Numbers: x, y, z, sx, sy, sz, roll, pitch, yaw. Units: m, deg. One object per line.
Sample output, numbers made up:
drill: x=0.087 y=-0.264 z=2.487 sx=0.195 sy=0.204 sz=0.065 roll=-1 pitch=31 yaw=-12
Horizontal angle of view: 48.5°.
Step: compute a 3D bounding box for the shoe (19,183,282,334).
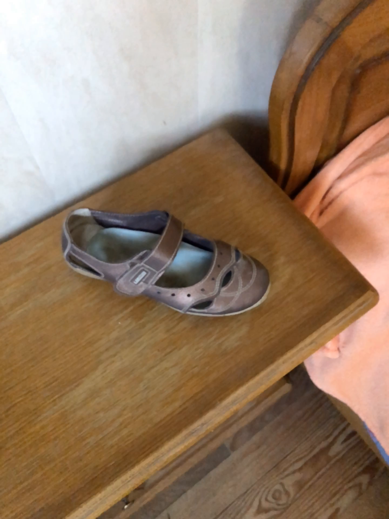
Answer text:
shoe: x=-0.043 y=0.000 z=0.495 sx=0.260 sy=0.090 sz=0.100 roll=10 pitch=62 yaw=5
